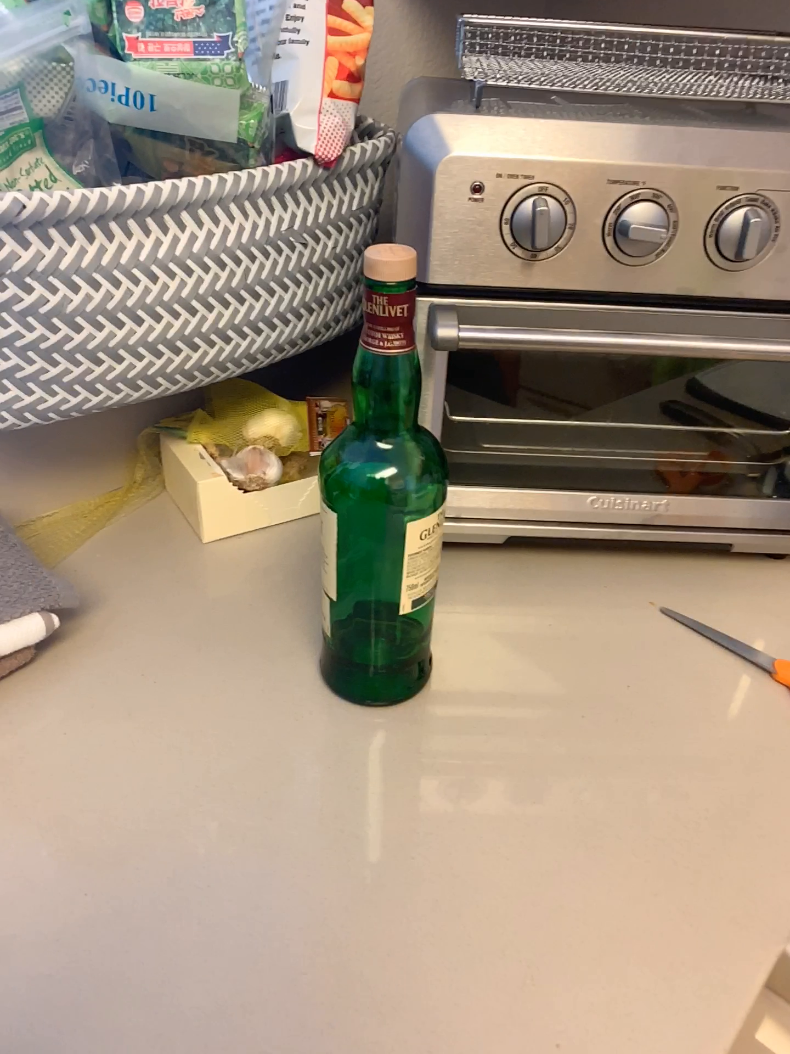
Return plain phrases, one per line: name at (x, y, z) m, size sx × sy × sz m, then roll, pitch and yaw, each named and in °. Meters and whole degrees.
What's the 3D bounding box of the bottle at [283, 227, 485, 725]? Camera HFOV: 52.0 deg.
bottle at (-0.008, -0.021, 0.482) m, size 0.080 × 0.278 × 0.080 m, roll 2°, pitch 32°, yaw -1°
